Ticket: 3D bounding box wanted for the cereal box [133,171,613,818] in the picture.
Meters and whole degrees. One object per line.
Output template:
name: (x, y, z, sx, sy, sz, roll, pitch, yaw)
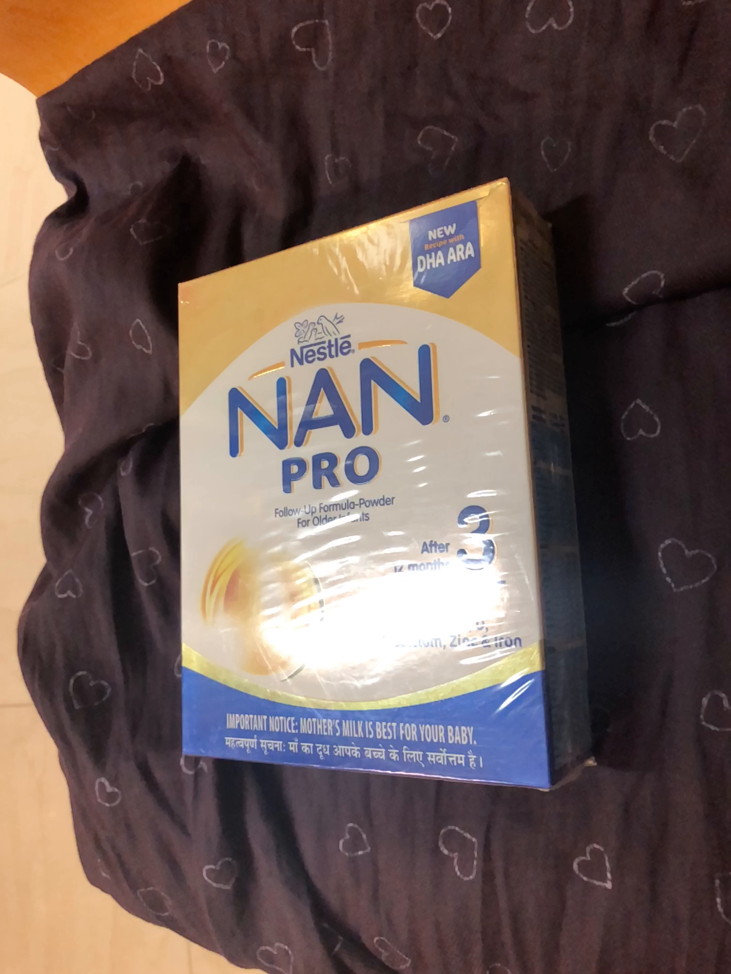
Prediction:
cereal box: (-0.004, 0.009, 0.308, 0.160, 0.070, 0.190, -7, 81, 31)
